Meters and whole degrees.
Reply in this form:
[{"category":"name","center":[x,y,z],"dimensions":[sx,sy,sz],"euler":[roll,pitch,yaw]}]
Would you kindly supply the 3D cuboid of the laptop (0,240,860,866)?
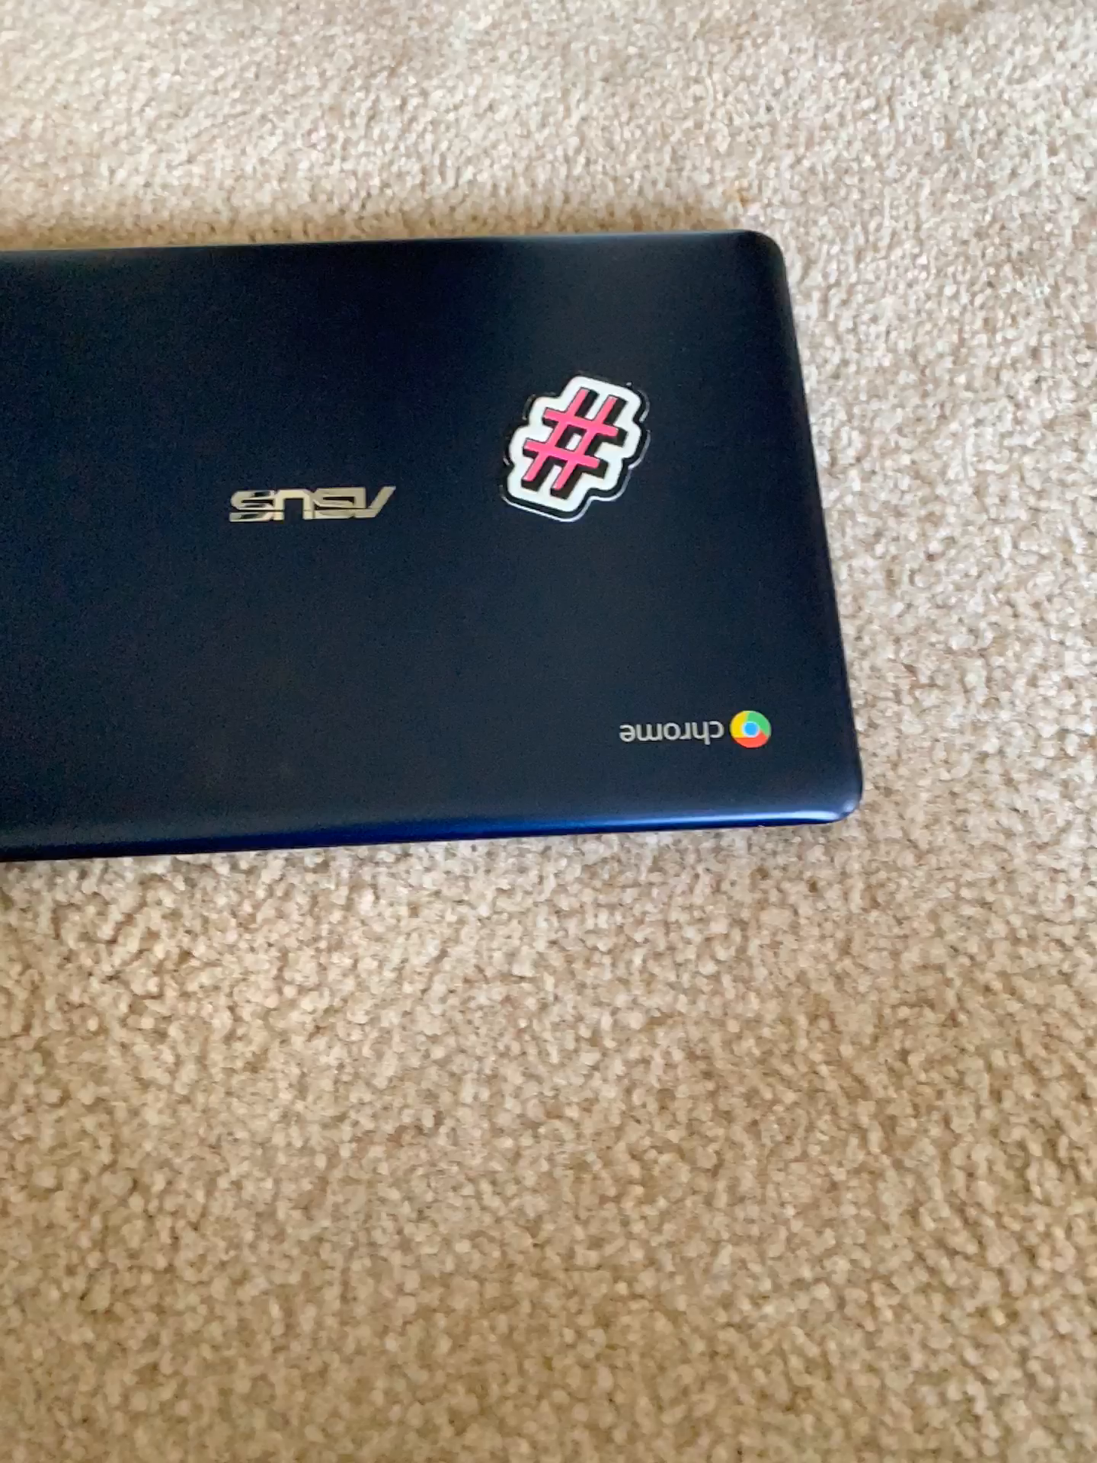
[{"category":"laptop","center":[-0.062,-0.058,0.314],"dimensions":[0.271,0.006,0.182],"euler":[-2,71,-2]}]
